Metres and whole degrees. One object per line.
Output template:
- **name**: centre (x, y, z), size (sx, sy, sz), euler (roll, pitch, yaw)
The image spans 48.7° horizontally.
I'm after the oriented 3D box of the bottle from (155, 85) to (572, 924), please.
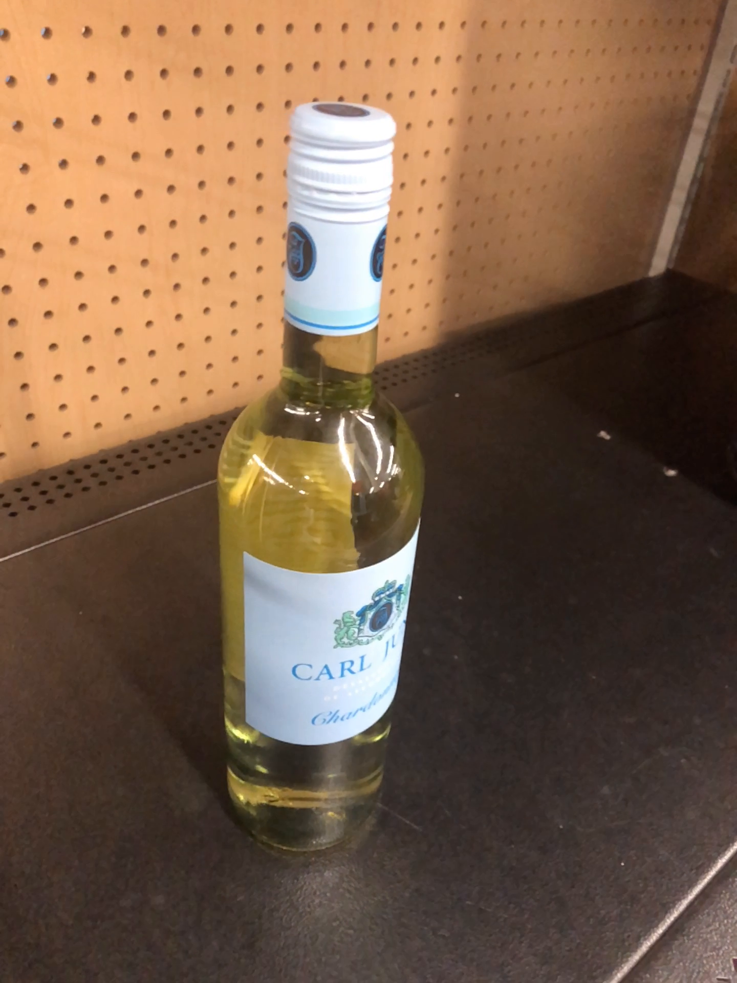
- **bottle**: centre (-0.015, 0.029, 0.313), size (0.080, 0.318, 0.080), euler (4, 36, -3)
